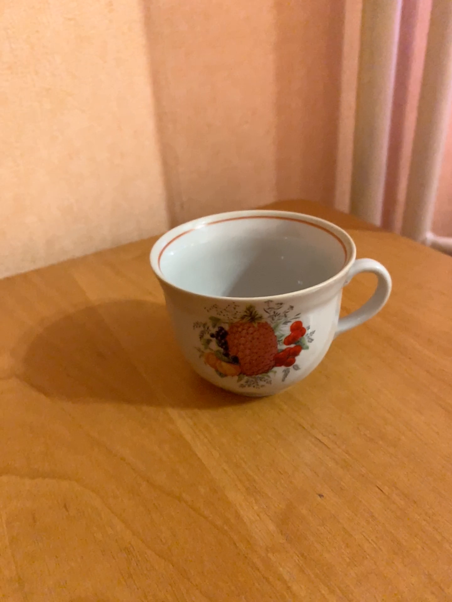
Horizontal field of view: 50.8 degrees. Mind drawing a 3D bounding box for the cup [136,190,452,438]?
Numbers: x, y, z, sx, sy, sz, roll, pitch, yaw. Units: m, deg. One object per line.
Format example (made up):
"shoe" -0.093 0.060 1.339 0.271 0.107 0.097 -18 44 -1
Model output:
"cup" 0.023 -0.002 0.213 0.108 0.056 0.083 -12 32 -11
